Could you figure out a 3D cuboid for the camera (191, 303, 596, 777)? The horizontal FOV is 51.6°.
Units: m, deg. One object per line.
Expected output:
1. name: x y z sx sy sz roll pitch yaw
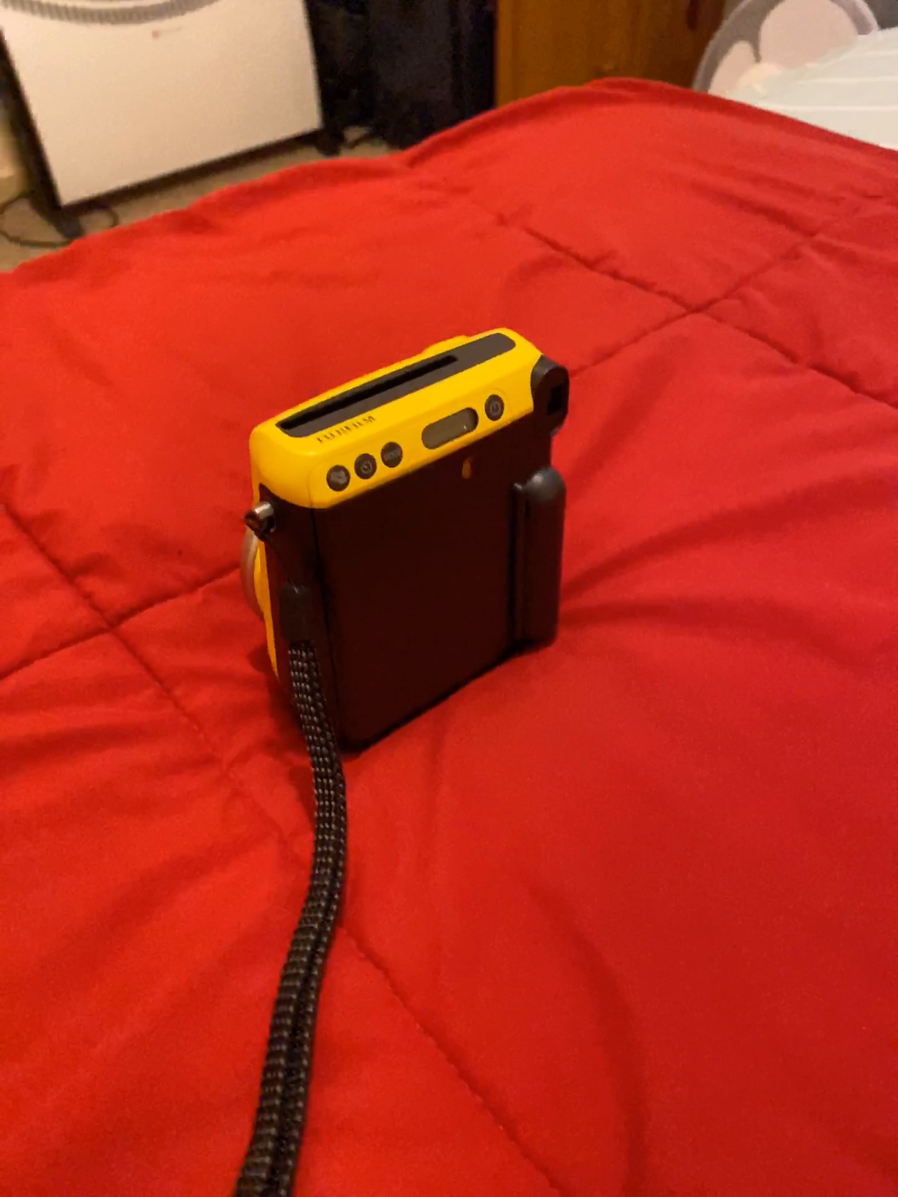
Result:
1. camera: -0.013 -0.019 0.287 0.095 0.103 0.057 -30 50 -28
